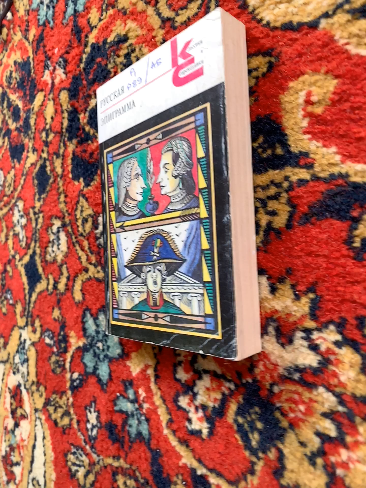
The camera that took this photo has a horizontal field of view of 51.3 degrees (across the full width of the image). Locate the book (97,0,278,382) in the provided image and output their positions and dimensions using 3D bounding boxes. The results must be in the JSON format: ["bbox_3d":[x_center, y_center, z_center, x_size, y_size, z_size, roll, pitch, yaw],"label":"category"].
[{"bbox_3d":[-0.007,-0.023,0.203,0.111,0.022,0.163,-5,86,47],"label":"book"}]
